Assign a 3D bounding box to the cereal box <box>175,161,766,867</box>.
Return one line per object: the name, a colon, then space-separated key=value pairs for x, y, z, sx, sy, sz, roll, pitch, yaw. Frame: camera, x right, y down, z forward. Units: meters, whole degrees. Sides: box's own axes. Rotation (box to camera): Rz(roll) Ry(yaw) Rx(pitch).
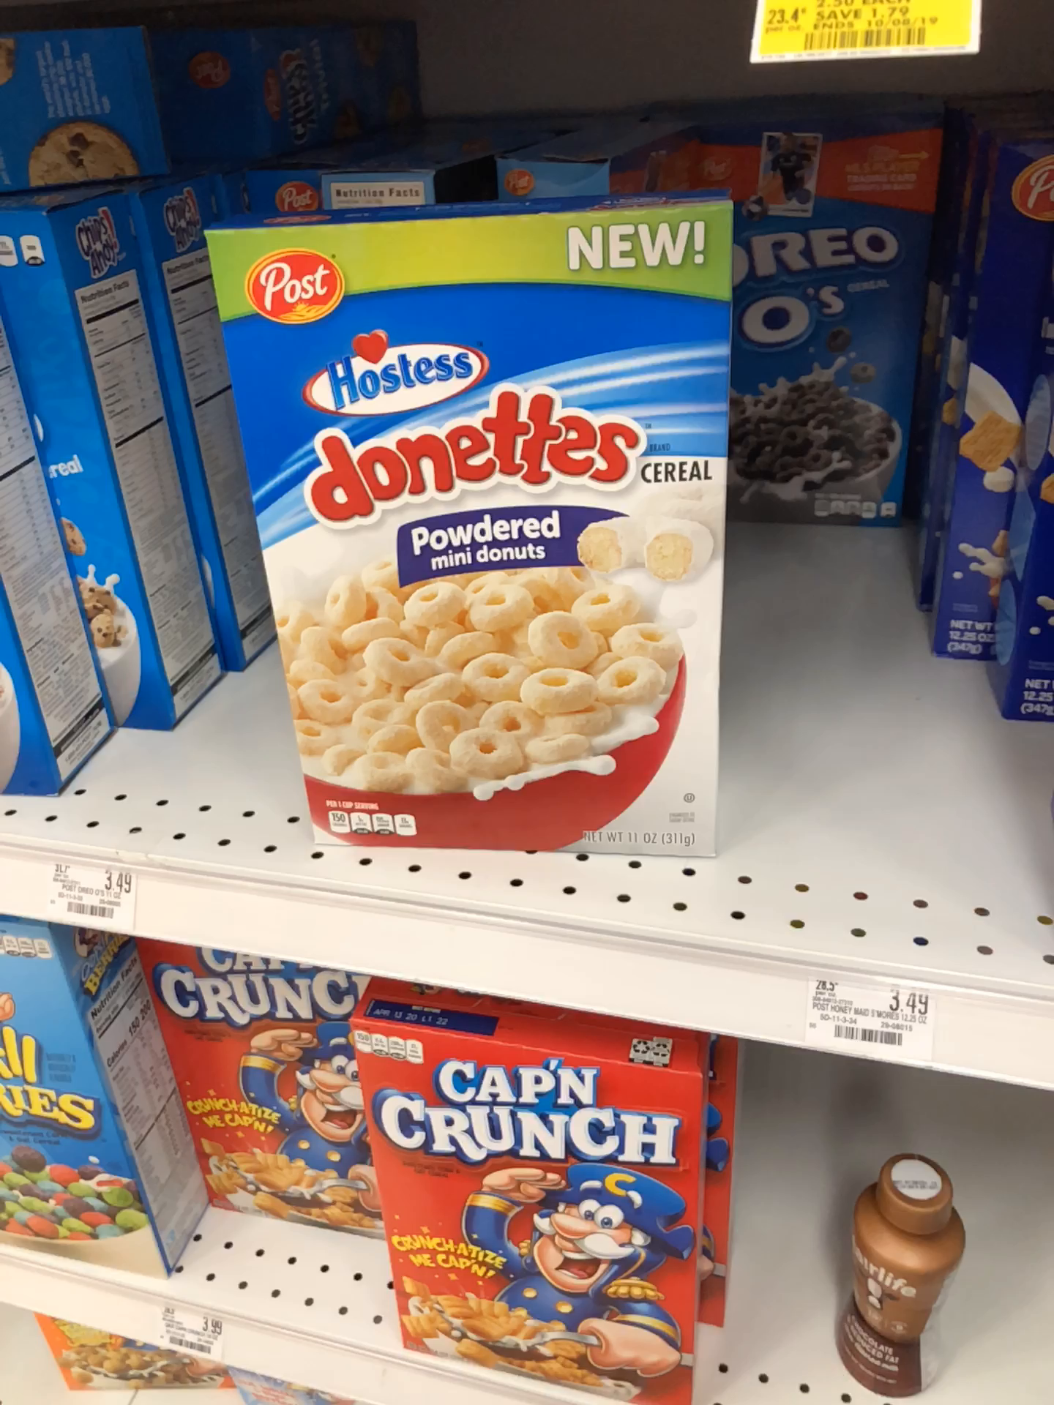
cereal box: x=-0.010 y=-0.062 z=0.457 sx=0.190 sy=0.259 sz=0.060 roll=1 pitch=29 yaw=9
